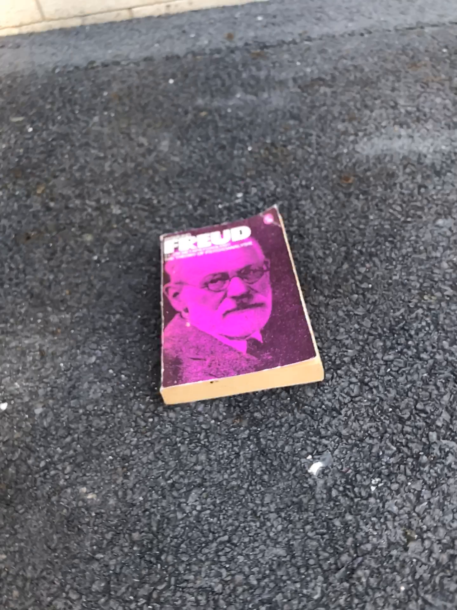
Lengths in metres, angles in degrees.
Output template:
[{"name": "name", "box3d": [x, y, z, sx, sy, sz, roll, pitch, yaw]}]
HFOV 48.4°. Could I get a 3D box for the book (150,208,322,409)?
[{"name": "book", "box3d": [-0.001, -0.007, 0.463, 0.131, 0.031, 0.195, -10, 46, 4]}]
